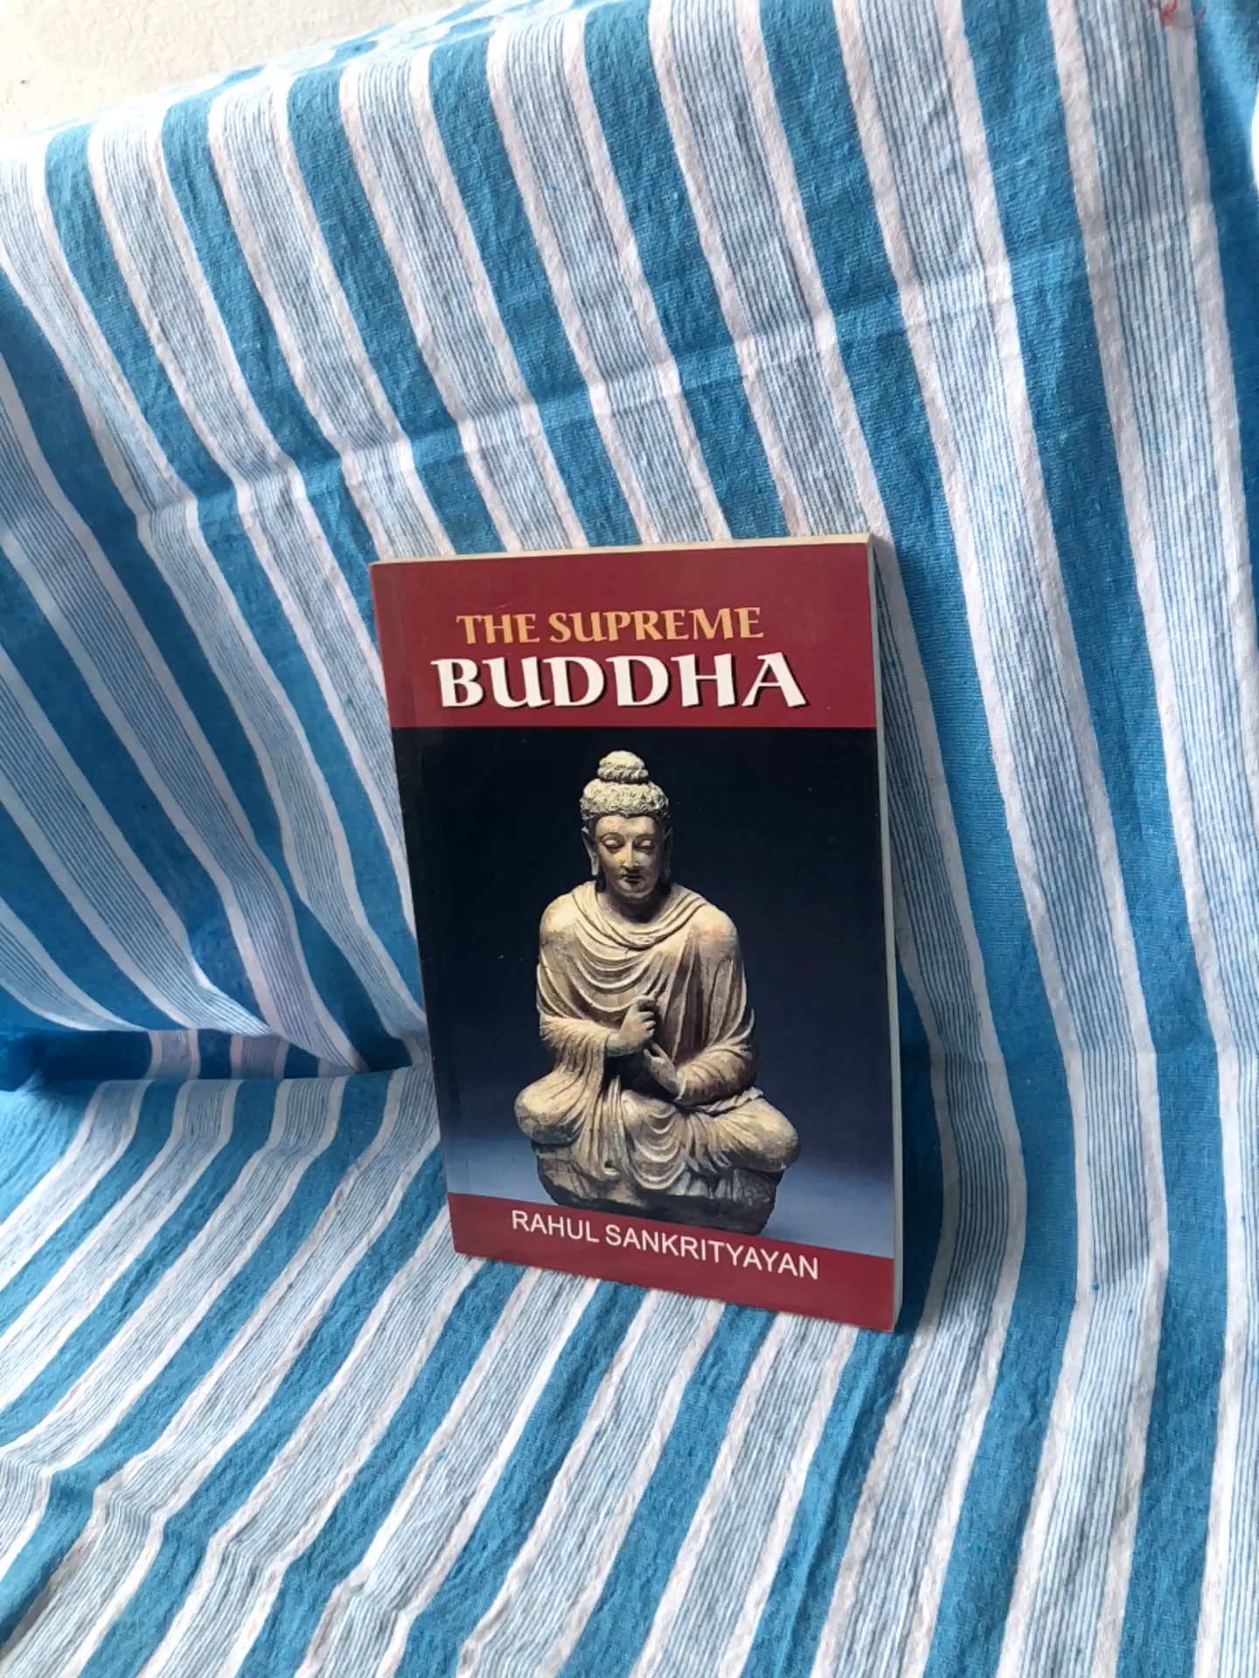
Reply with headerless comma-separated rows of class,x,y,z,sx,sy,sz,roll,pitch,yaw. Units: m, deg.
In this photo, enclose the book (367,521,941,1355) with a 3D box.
book,0.008,0.028,0.389,0.150,0.219,0.020,3,16,24
